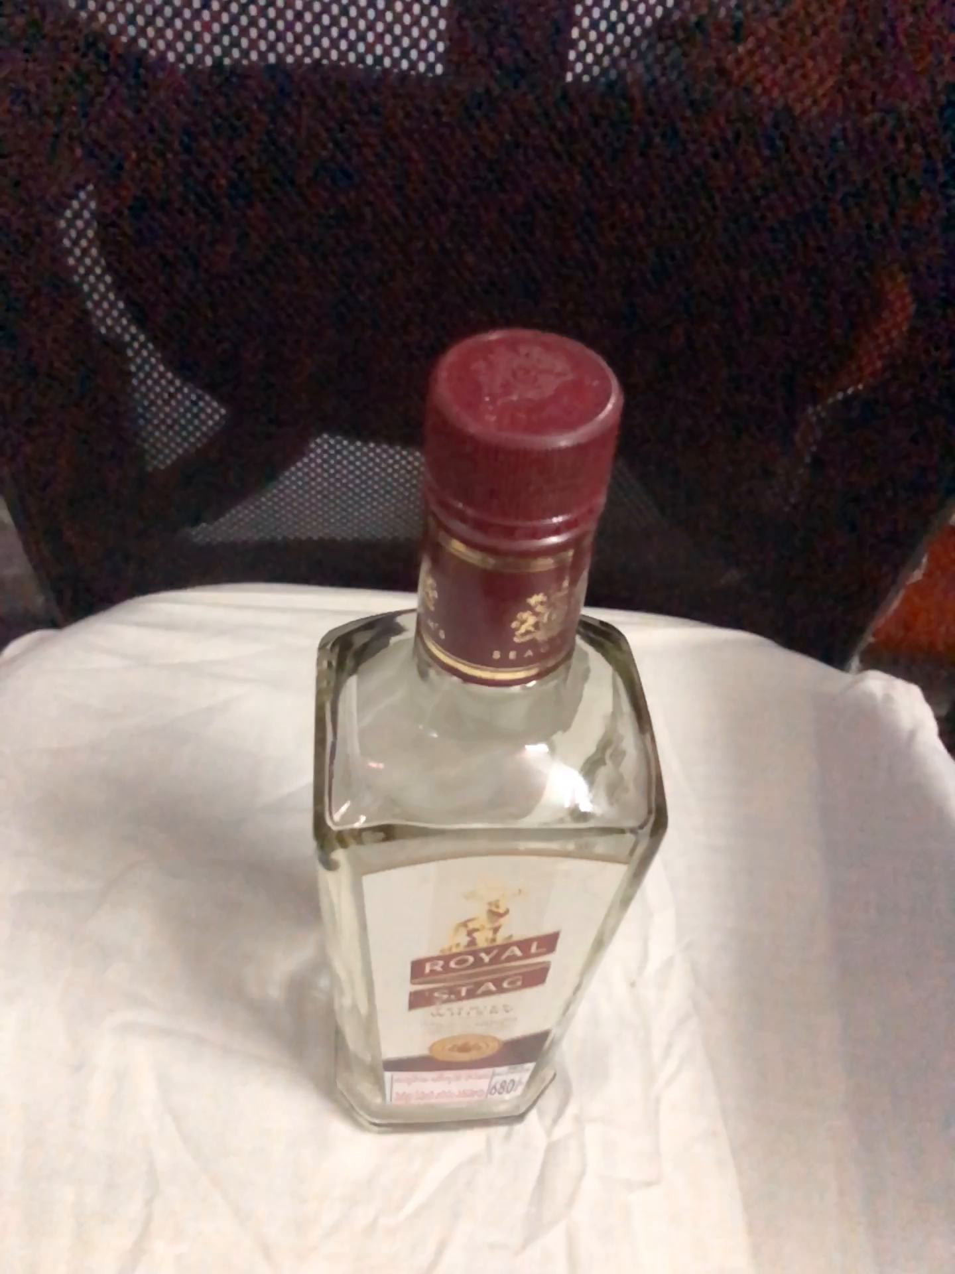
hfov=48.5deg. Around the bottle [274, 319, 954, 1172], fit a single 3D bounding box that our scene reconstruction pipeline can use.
[{"bbox_3d":[0.003,0.062,0.260,0.090,0.279,0.060,1,51,-7],"label":"bottle"}]
